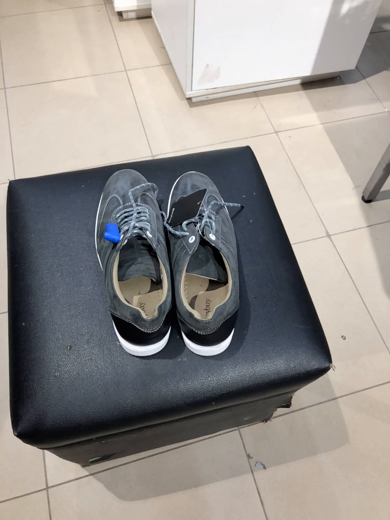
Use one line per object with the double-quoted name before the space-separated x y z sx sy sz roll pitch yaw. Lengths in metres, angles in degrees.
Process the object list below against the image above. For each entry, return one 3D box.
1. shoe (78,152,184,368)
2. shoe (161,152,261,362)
"shoe" -0.085 -0.005 0.556 0.100 0.107 0.249 -8 61 -7
"shoe" 0.011 -0.008 0.558 0.100 0.107 0.250 -2 60 -3
